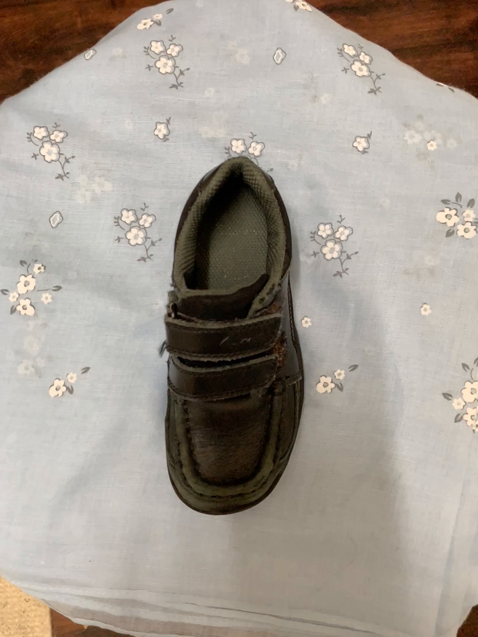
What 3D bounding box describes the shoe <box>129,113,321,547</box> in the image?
[{"bbox_3d":[-0.004,0.004,0.252,0.078,0.073,0.190,2,84,1],"label":"shoe"}]
